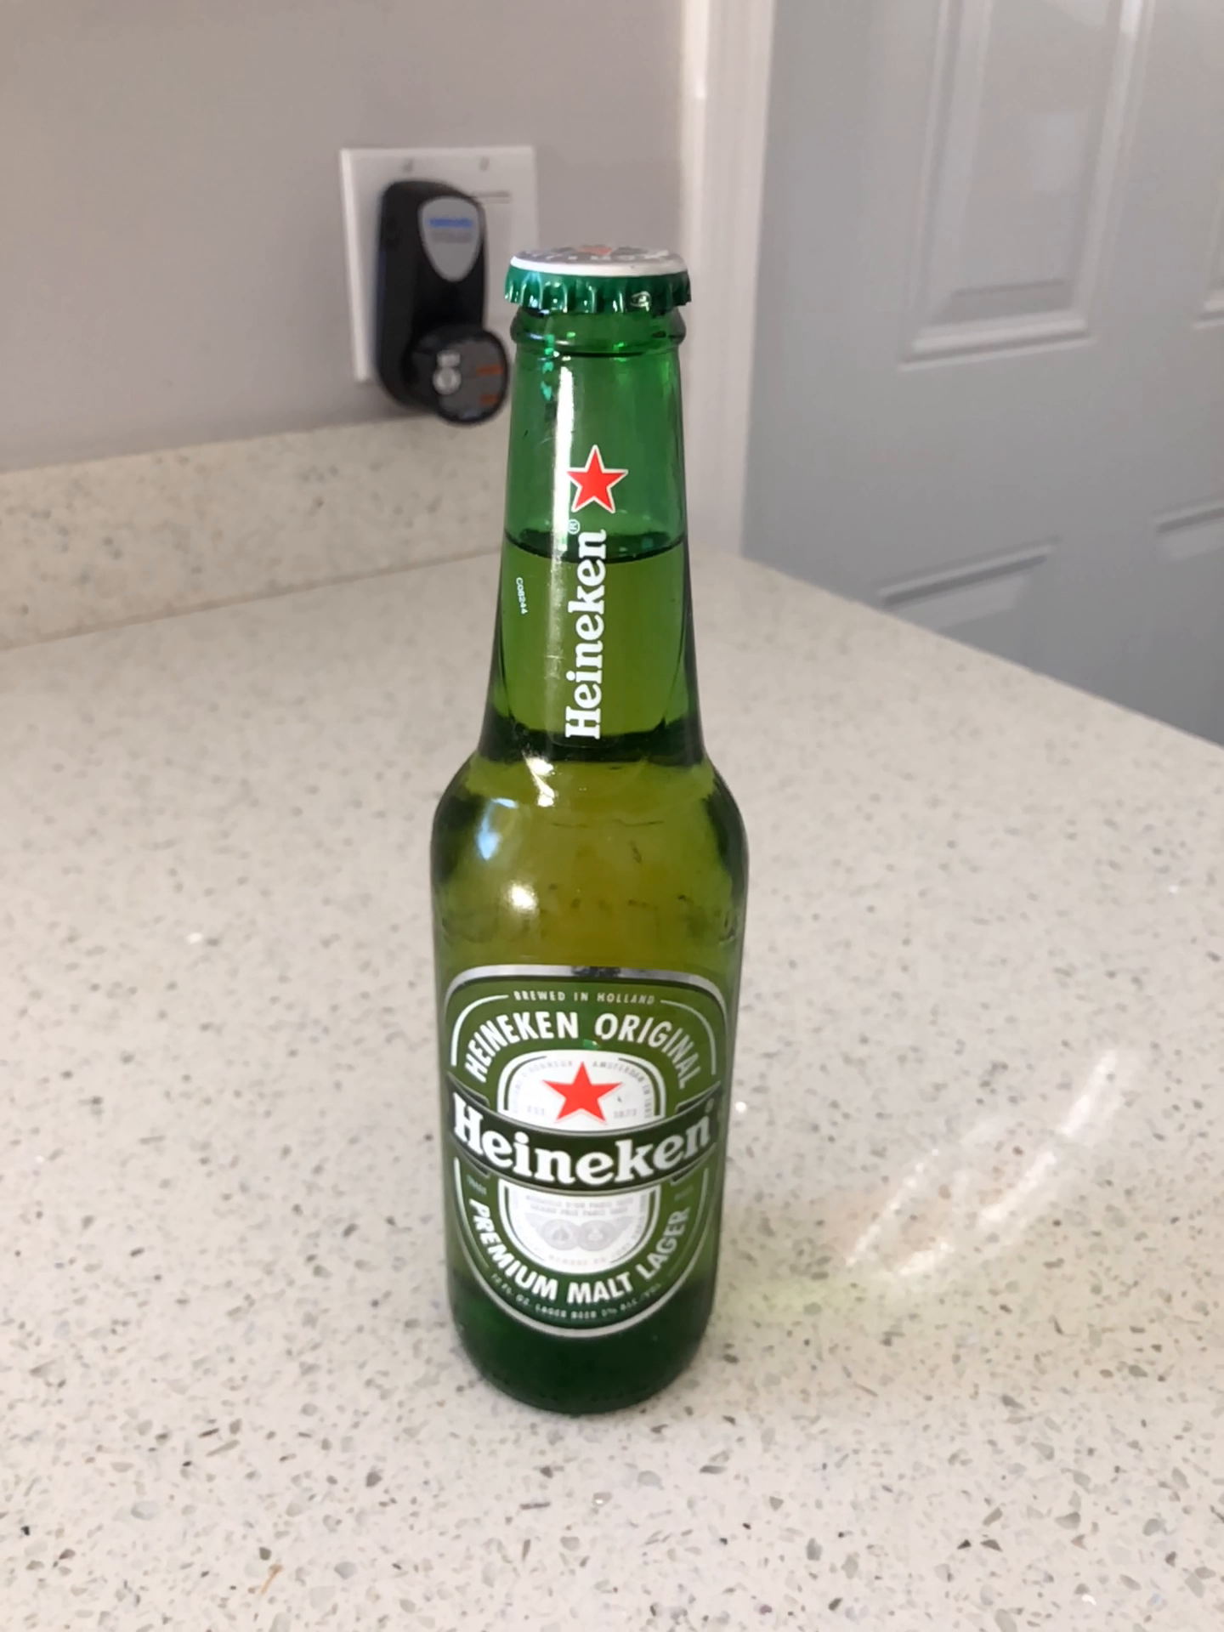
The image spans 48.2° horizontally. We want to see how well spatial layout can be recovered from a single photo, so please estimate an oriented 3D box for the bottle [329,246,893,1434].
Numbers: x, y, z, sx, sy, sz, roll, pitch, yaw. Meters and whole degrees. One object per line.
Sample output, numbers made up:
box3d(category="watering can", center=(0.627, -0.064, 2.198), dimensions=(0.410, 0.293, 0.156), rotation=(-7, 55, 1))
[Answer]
box3d(category="bottle", center=(-0.001, 0.013, 0.251), dimensions=(0.070, 0.209, 0.070), rotation=(1, 29, 0))
